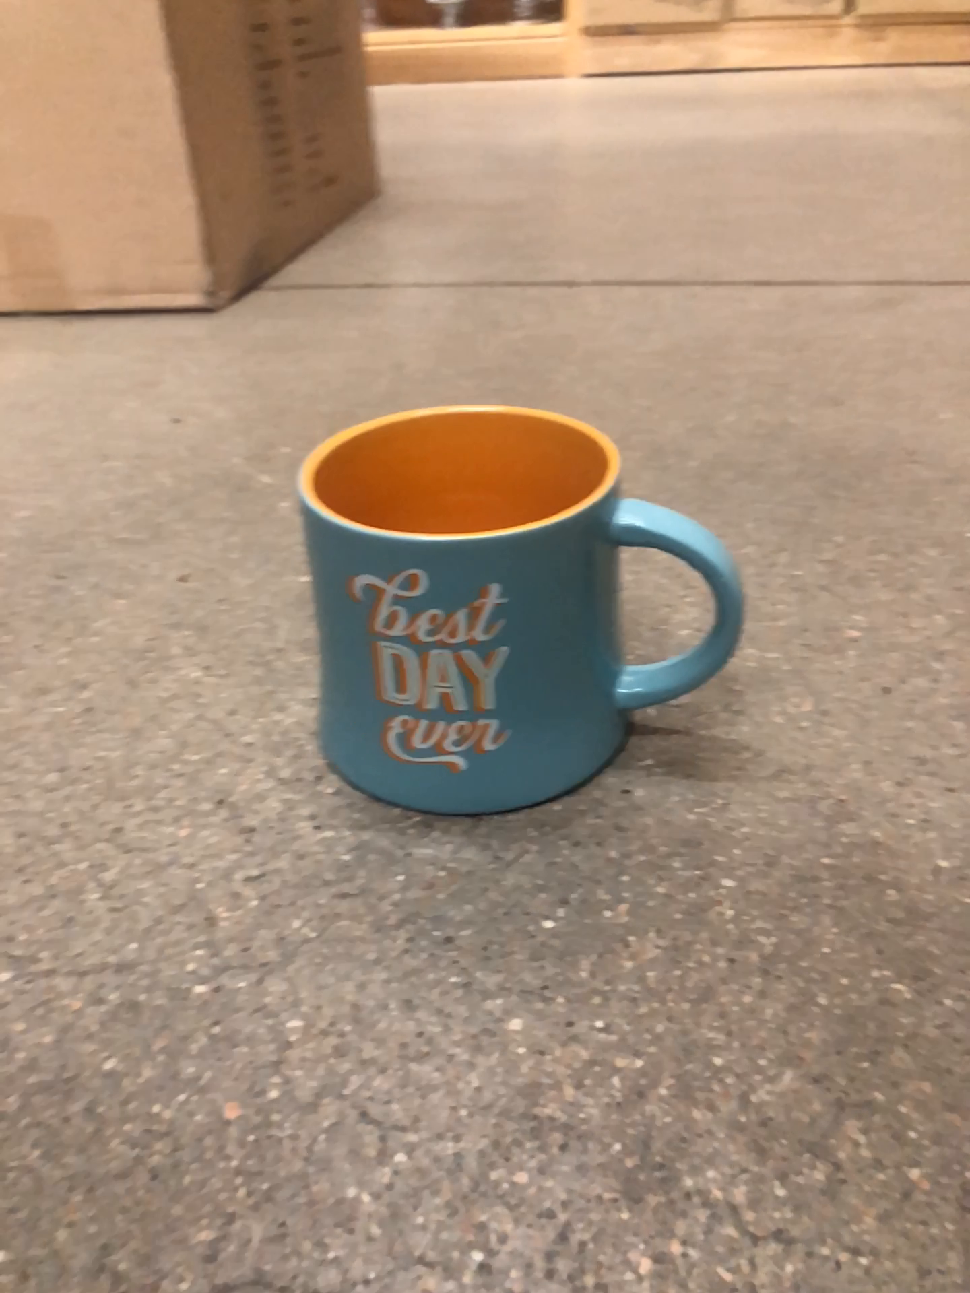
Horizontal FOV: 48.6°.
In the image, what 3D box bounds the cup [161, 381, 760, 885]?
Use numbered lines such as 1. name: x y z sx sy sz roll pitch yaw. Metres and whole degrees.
1. cup: 0.002 -0.013 0.329 0.143 0.097 0.108 7 33 16
